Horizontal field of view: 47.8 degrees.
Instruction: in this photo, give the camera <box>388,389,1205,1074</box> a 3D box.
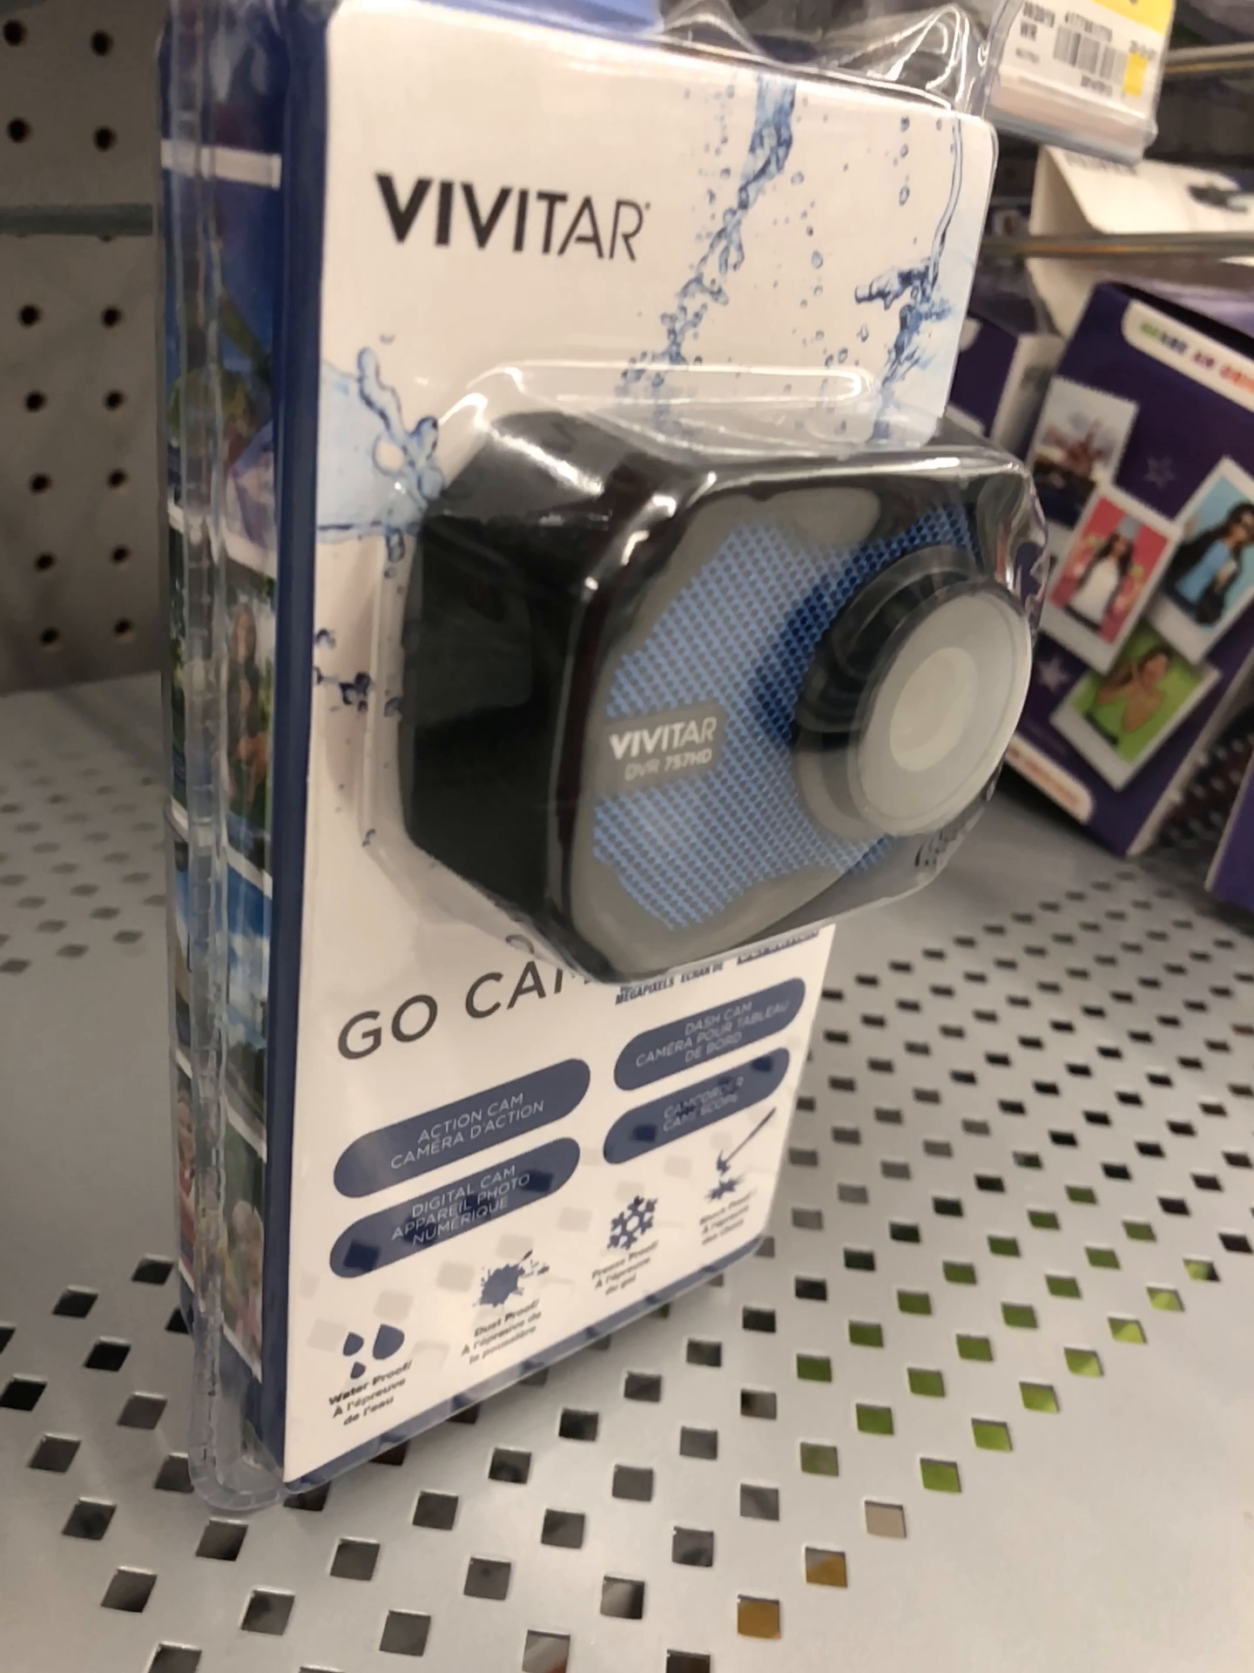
[{"bbox_3d":[0.017,-0.017,0.148,0.070,0.050,0.040,-15,33,-37],"label":"camera"}]
